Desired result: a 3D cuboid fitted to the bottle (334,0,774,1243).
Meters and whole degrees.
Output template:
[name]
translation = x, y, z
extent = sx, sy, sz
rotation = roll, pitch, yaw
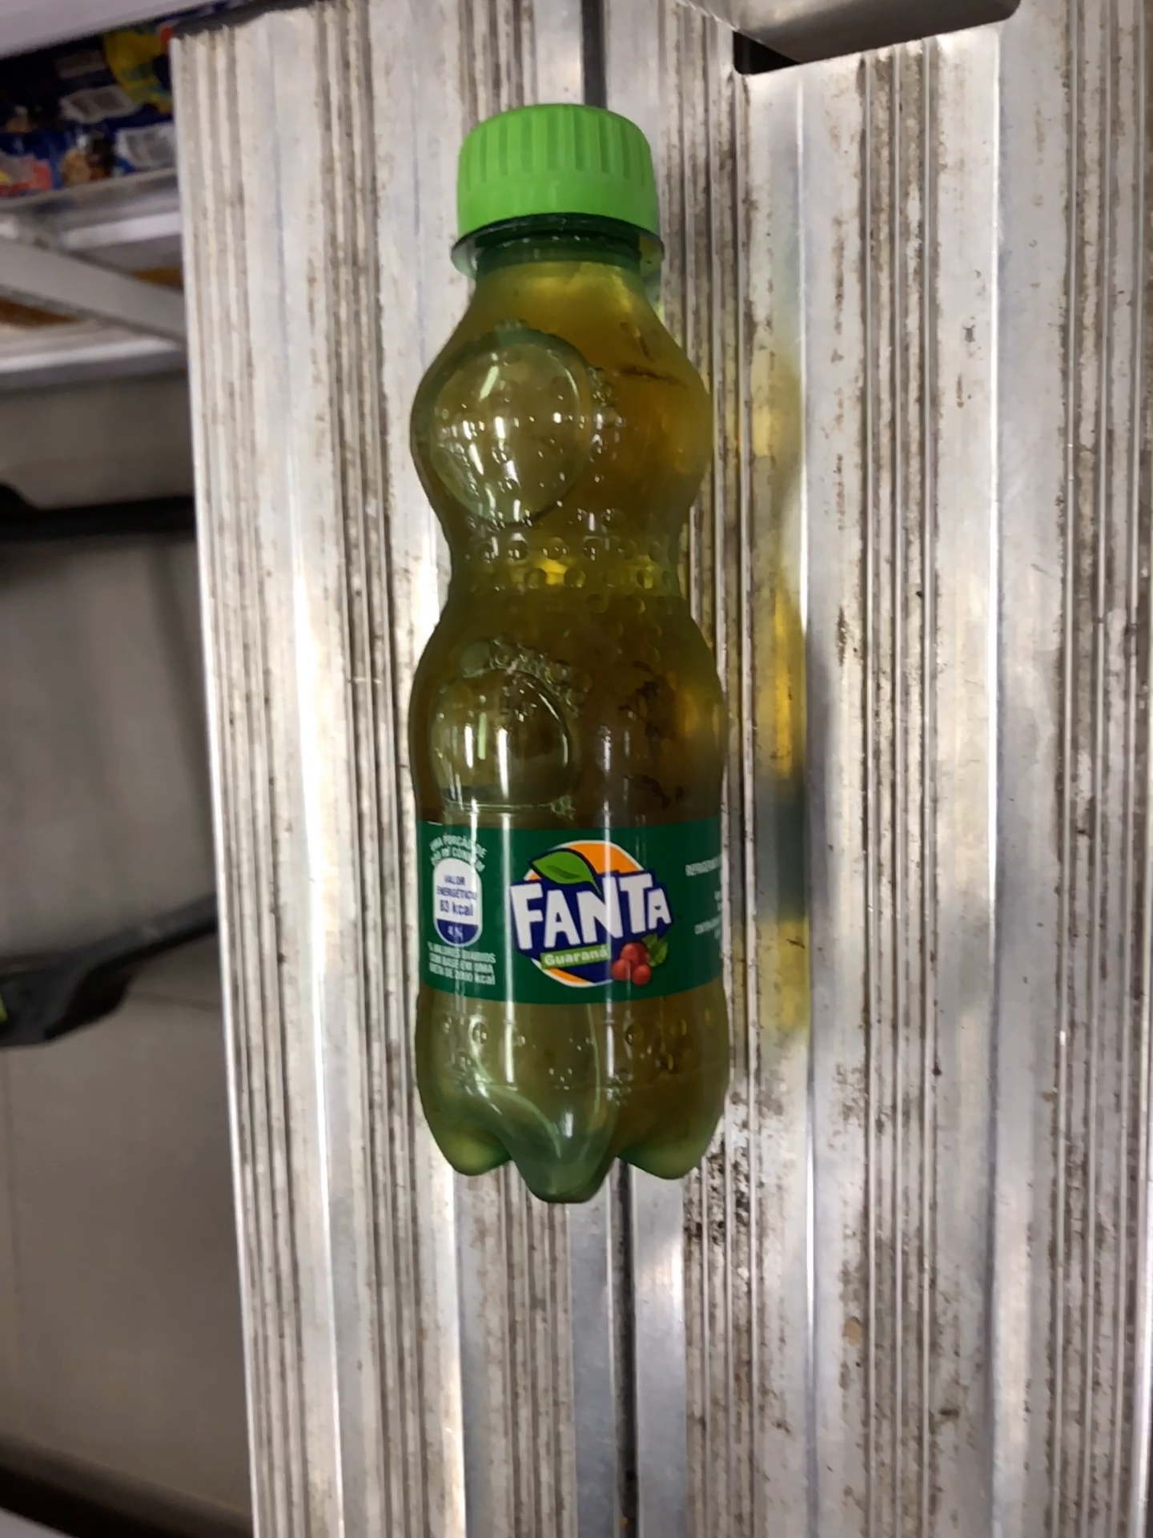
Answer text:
[bottle]
translation = -0.005, -0.025, 0.195
extent = 0.050, 0.050, 0.170
rotation = -171, 79, -69
